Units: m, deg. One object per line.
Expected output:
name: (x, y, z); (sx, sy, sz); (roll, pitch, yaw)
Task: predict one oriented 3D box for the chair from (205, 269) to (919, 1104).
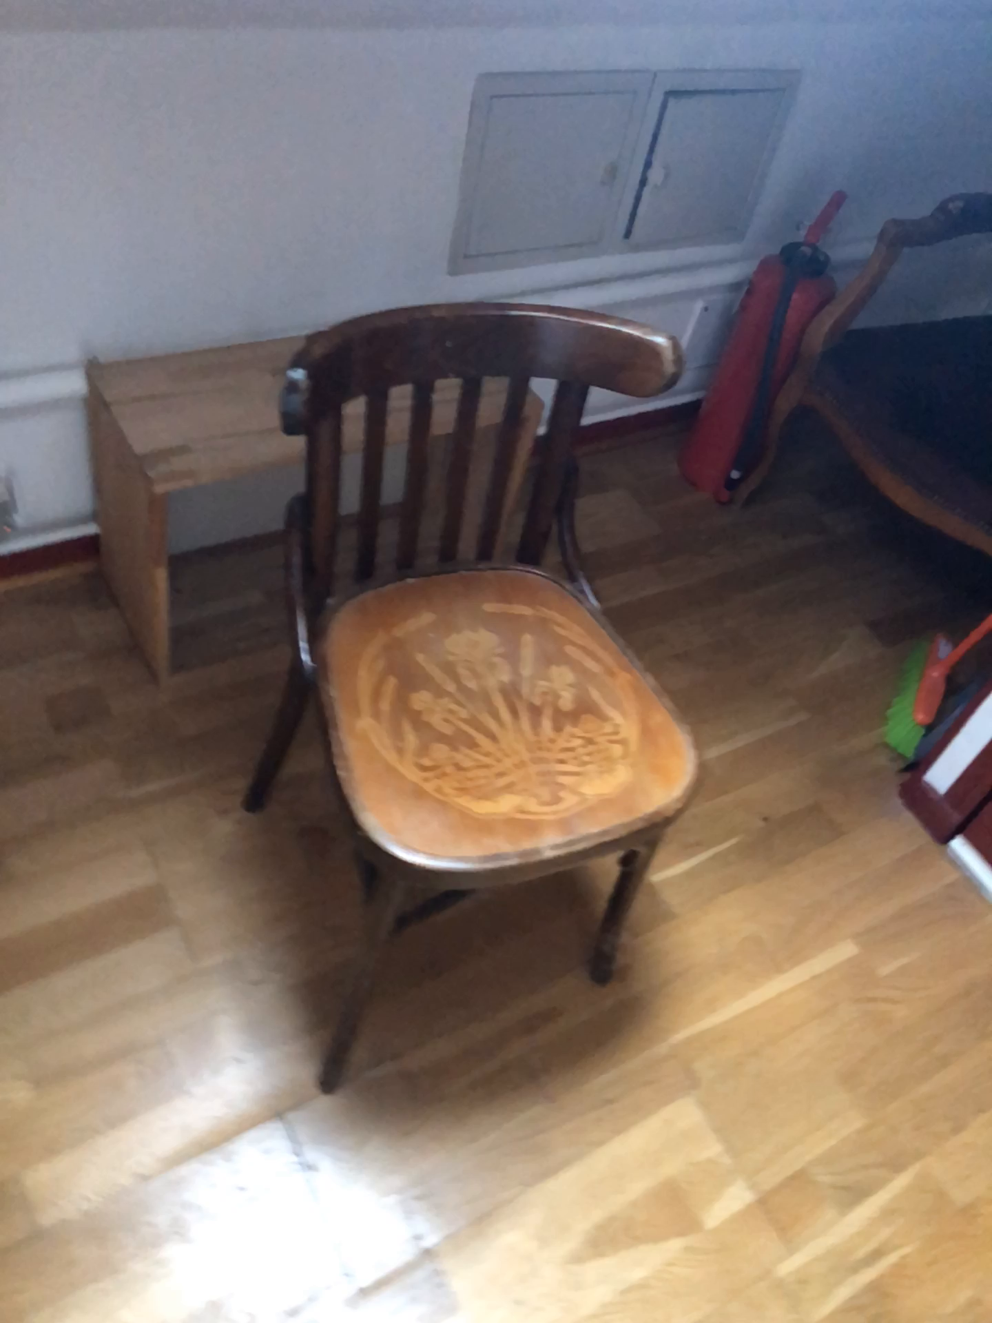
chair: (-0.022, 0.047, 1.137); (0.444, 0.737, 0.413); (-13, 53, -26)
